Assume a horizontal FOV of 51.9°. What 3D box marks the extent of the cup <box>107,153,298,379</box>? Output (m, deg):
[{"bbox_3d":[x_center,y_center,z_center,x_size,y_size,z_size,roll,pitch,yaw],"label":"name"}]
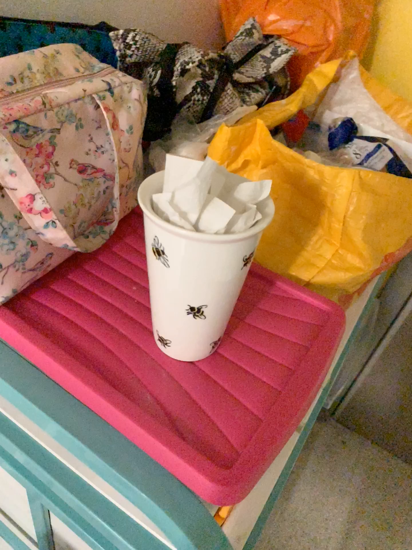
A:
[{"bbox_3d":[-0.006,-0.010,0.319,0.098,0.112,0.091,6,38,-5],"label":"cup"}]
